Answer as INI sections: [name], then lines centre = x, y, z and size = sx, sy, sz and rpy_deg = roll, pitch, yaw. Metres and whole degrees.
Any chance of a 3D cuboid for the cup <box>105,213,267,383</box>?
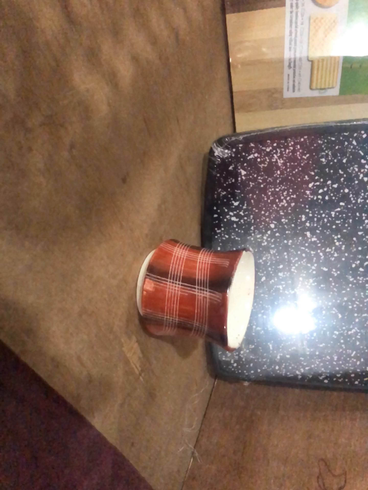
[cup]
centre = 0.009, 0.034, 0.251
size = 0.090, 0.060, 0.060
rpy_deg = 63, 40, -51
